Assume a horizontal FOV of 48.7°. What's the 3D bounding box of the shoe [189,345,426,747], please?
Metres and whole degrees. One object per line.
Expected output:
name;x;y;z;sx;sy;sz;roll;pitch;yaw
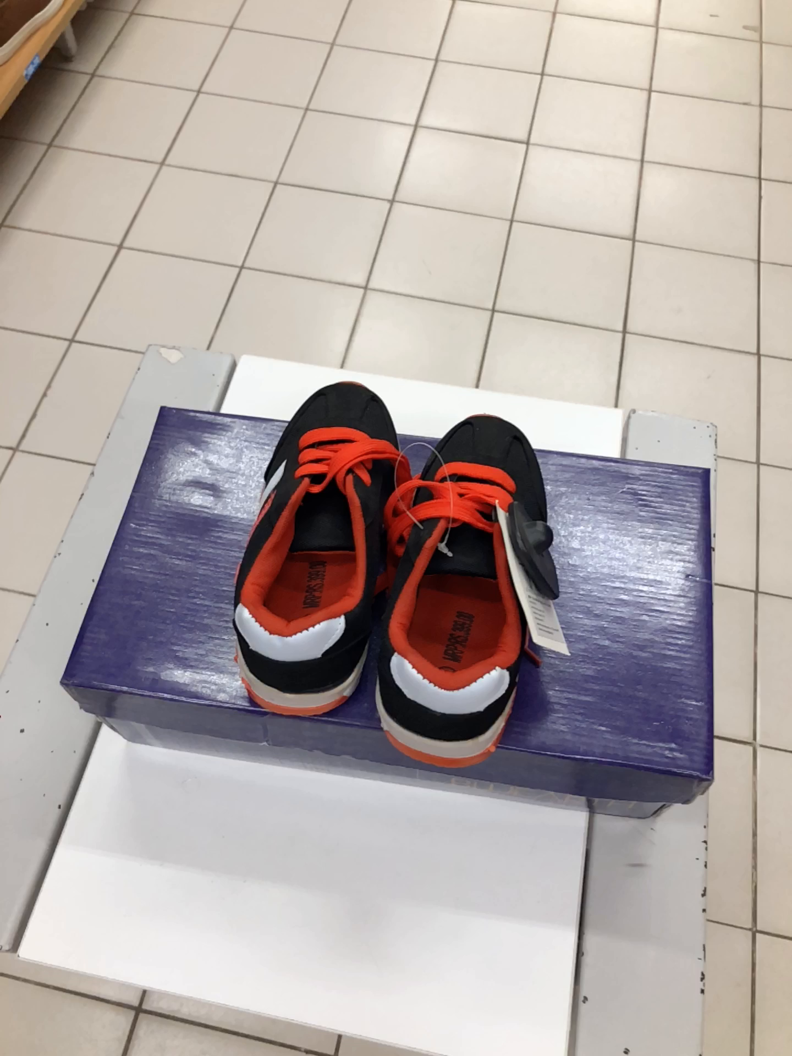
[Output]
shoe;-0.038;0.009;0.469;0.080;0.100;0.181;8;60;3

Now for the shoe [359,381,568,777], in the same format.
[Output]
shoe;0.036;0.026;0.458;0.080;0.100;0.171;8;60;3
